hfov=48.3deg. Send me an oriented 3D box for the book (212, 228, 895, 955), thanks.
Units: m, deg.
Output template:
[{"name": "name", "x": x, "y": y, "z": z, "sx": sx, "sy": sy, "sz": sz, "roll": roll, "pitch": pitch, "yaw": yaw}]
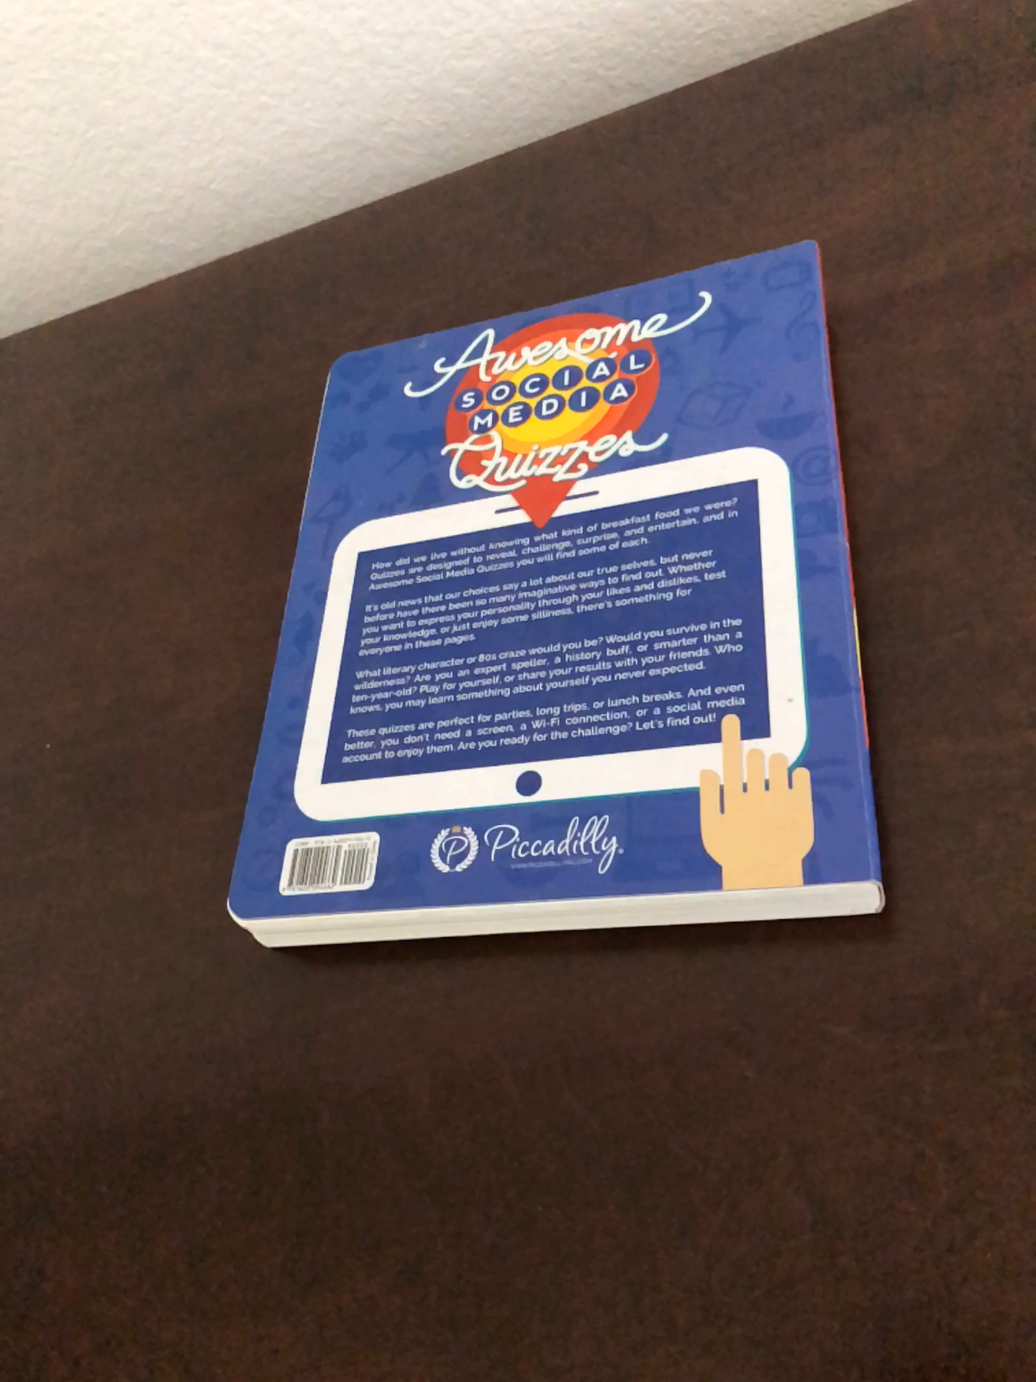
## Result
[{"name": "book", "x": 0.010, "y": -0.031, "z": 0.330, "sx": 0.166, "sy": 0.030, "sz": 0.201, "roll": -7, "pitch": 60, "yaw": 19}]
